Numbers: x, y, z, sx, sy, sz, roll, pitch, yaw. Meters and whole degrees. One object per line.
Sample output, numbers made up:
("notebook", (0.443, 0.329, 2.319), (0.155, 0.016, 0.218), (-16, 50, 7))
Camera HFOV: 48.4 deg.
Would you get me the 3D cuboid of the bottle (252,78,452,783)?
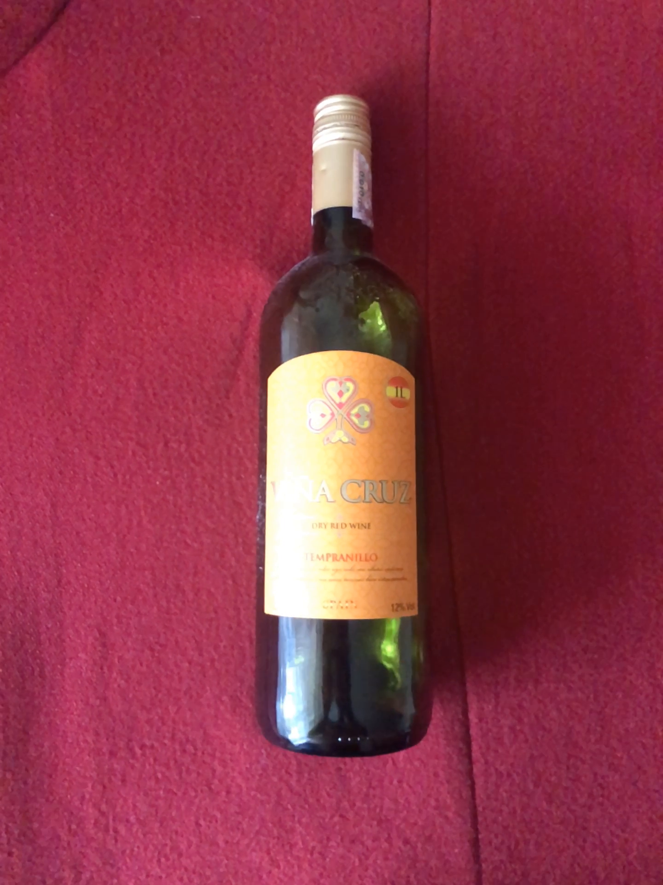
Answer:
("bottle", (0.008, -0.009, 0.347), (0.080, 0.070, 0.300), (0, 83, 1))
